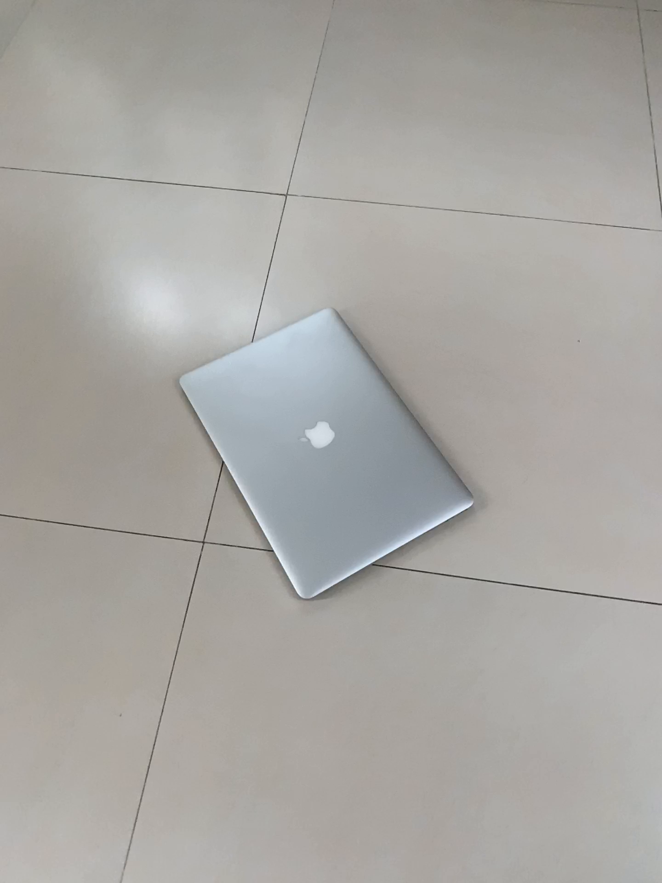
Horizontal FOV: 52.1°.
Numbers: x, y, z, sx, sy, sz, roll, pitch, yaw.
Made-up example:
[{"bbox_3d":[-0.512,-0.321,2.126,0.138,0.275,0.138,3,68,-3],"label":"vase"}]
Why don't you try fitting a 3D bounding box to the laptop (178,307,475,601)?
[{"bbox_3d":[-0.016,-0.006,0.877,0.239,0.001,0.356,-28,64,-13],"label":"laptop"}]
